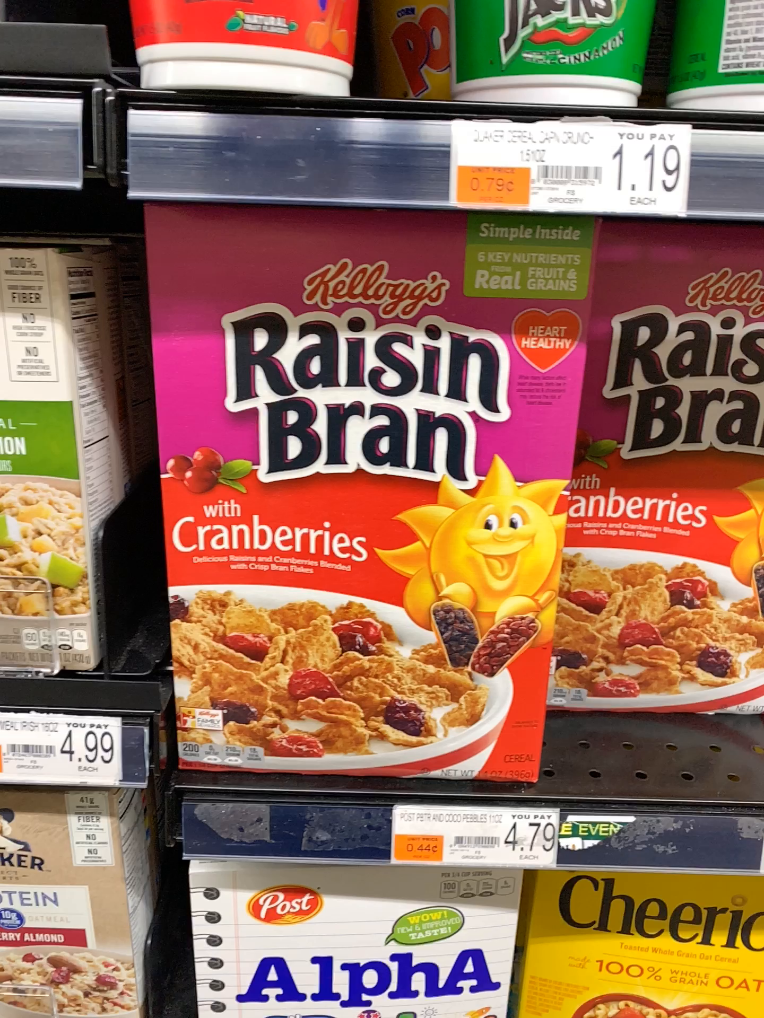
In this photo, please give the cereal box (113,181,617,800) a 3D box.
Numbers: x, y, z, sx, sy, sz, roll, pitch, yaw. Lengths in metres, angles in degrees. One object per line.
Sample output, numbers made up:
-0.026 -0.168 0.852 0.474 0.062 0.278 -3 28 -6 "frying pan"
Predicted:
-0.011 0.000 0.386 0.200 0.289 0.060 2 19 0 "cereal box"
